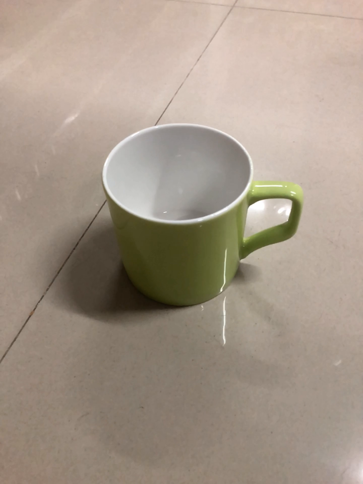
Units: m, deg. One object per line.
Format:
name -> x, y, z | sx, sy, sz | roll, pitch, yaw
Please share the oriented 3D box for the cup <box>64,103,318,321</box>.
cup -> 0.008, -0.015, 0.211 | 0.100, 0.080, 0.070 | 5, 50, 7
